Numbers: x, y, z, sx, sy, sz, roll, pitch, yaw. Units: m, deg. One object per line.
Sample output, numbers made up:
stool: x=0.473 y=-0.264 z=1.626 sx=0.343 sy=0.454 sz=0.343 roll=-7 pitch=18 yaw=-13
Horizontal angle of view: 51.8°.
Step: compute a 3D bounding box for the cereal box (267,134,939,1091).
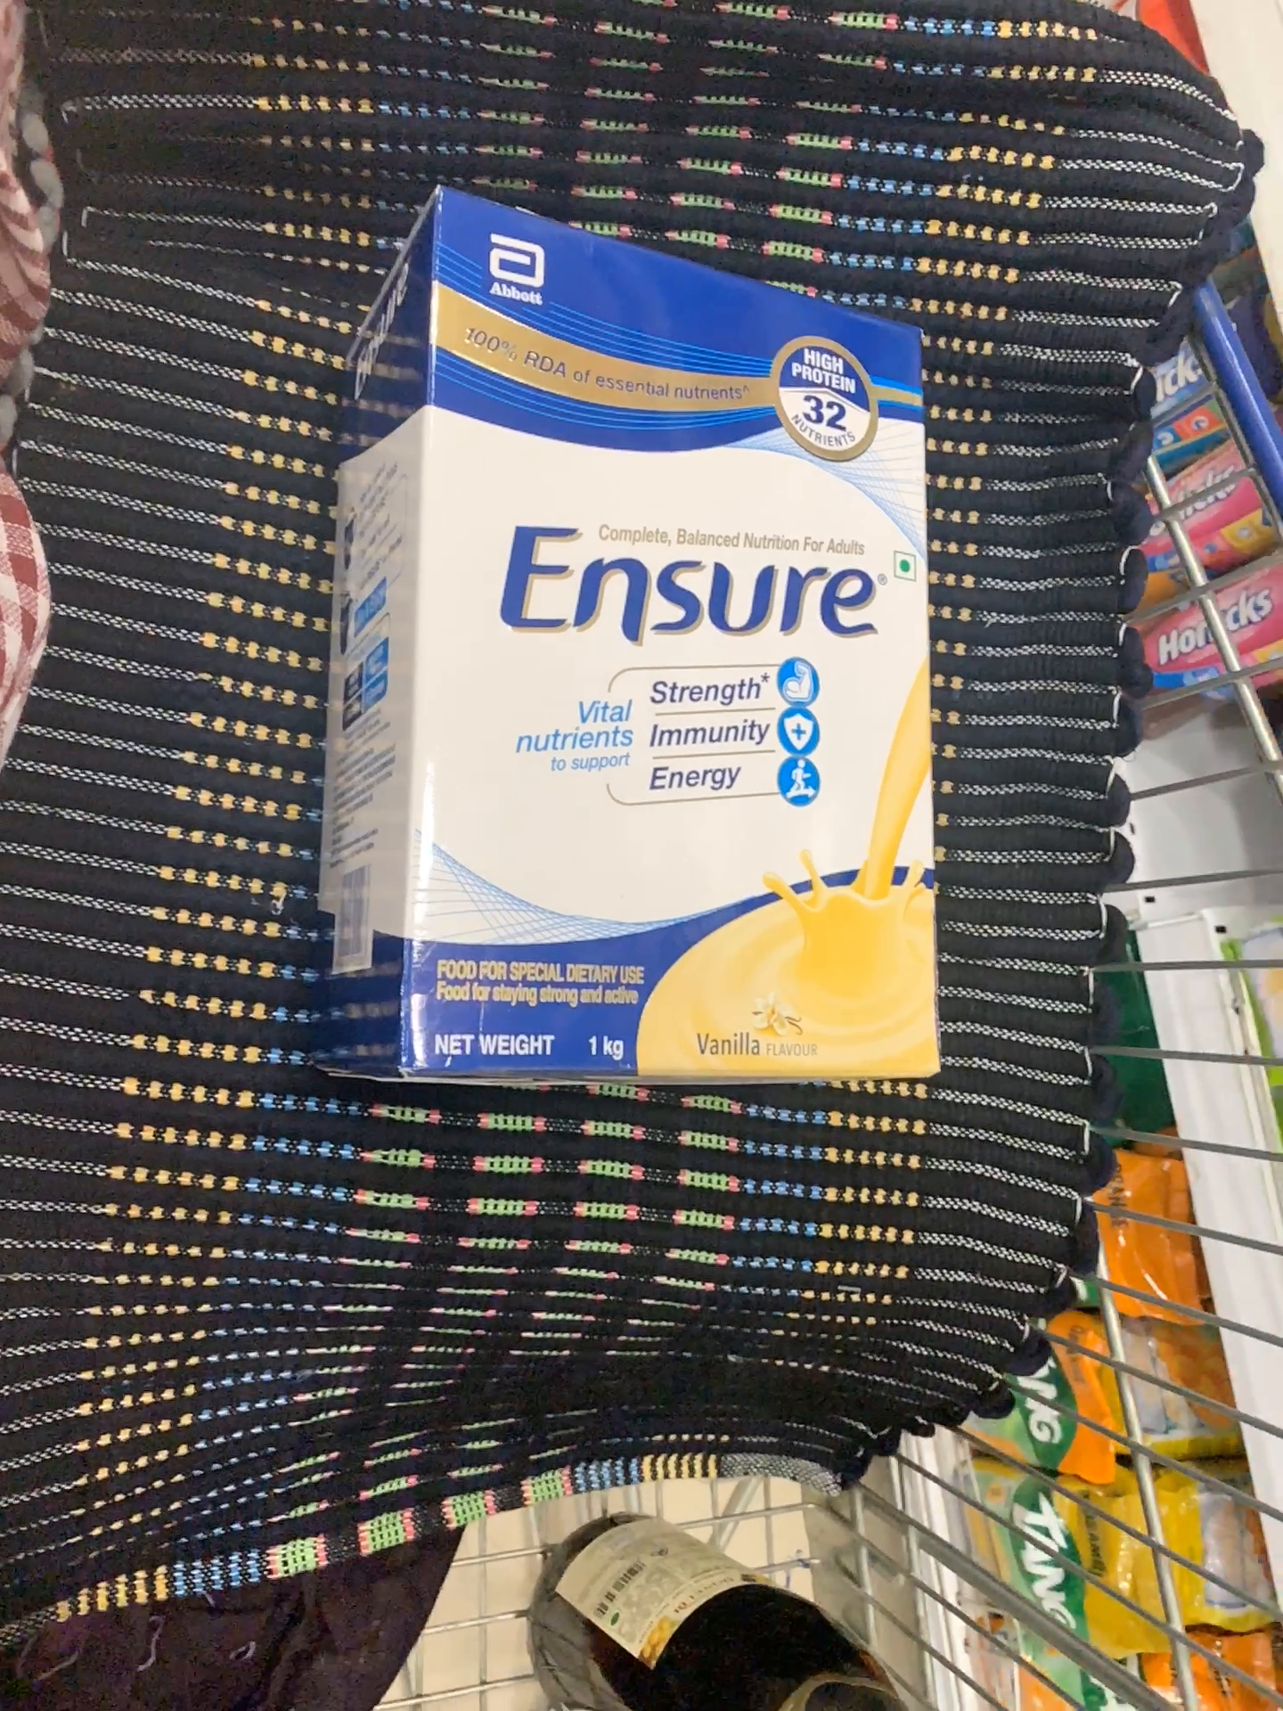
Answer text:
cereal box: x=-0.012 y=-0.048 z=0.362 sx=0.150 sy=0.090 sz=0.220 roll=5 pitch=78 yaw=-25
